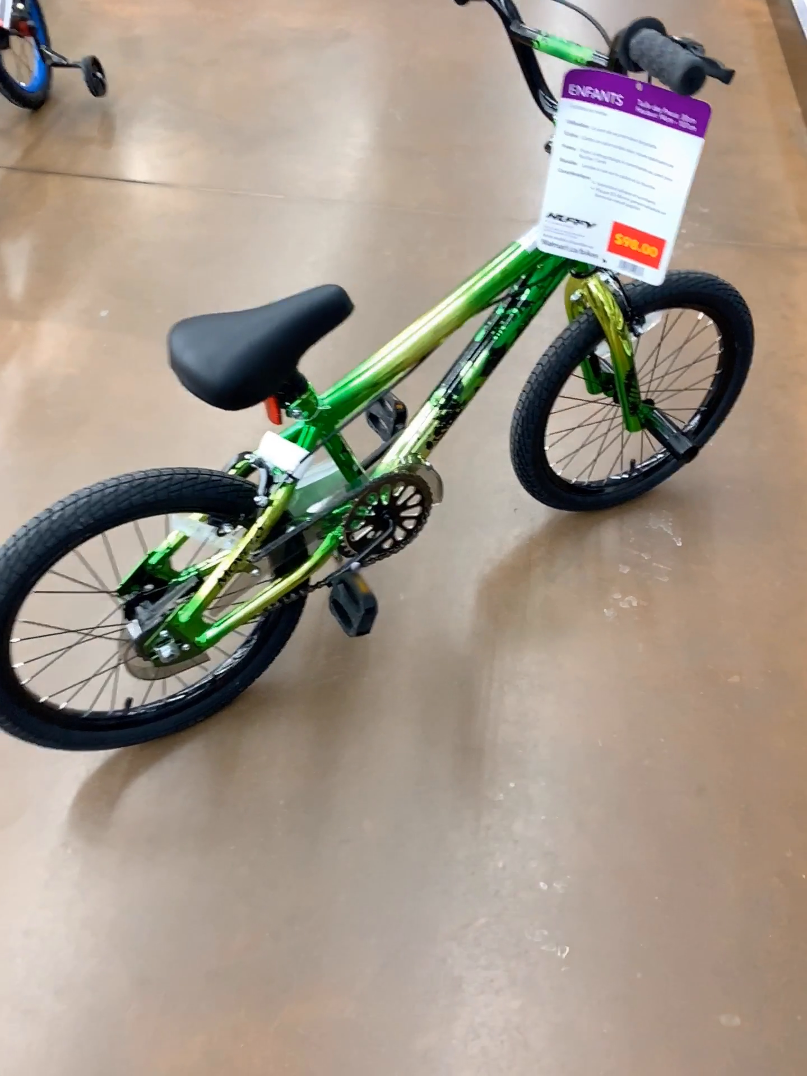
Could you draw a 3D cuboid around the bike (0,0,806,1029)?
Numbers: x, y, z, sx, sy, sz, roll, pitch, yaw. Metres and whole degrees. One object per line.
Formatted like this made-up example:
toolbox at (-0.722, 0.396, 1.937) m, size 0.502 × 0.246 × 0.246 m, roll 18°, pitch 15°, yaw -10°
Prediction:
bike at (0.116, -0.192, 1.081) m, size 1.406 × 1.035 × 0.719 m, roll -26°, pitch 53°, yaw -14°
